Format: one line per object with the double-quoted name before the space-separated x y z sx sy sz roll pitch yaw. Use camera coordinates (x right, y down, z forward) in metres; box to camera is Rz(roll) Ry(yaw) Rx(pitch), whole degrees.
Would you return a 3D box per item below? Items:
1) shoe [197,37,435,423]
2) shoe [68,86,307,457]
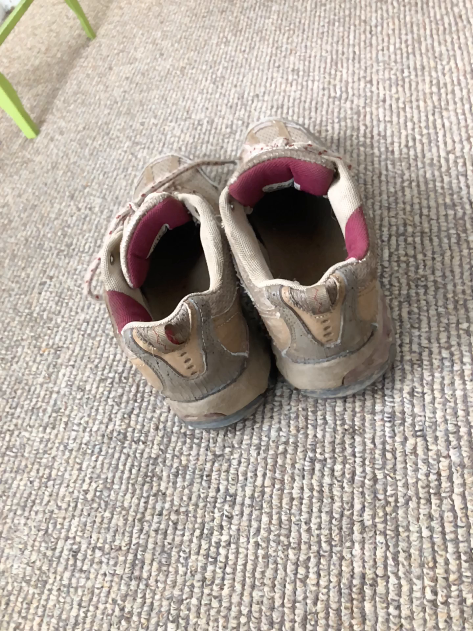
"shoe" 0.051 -0.077 0.412 0.111 0.123 0.273 -16 51 10
"shoe" -0.050 -0.049 0.426 0.110 0.118 0.272 -22 50 4
